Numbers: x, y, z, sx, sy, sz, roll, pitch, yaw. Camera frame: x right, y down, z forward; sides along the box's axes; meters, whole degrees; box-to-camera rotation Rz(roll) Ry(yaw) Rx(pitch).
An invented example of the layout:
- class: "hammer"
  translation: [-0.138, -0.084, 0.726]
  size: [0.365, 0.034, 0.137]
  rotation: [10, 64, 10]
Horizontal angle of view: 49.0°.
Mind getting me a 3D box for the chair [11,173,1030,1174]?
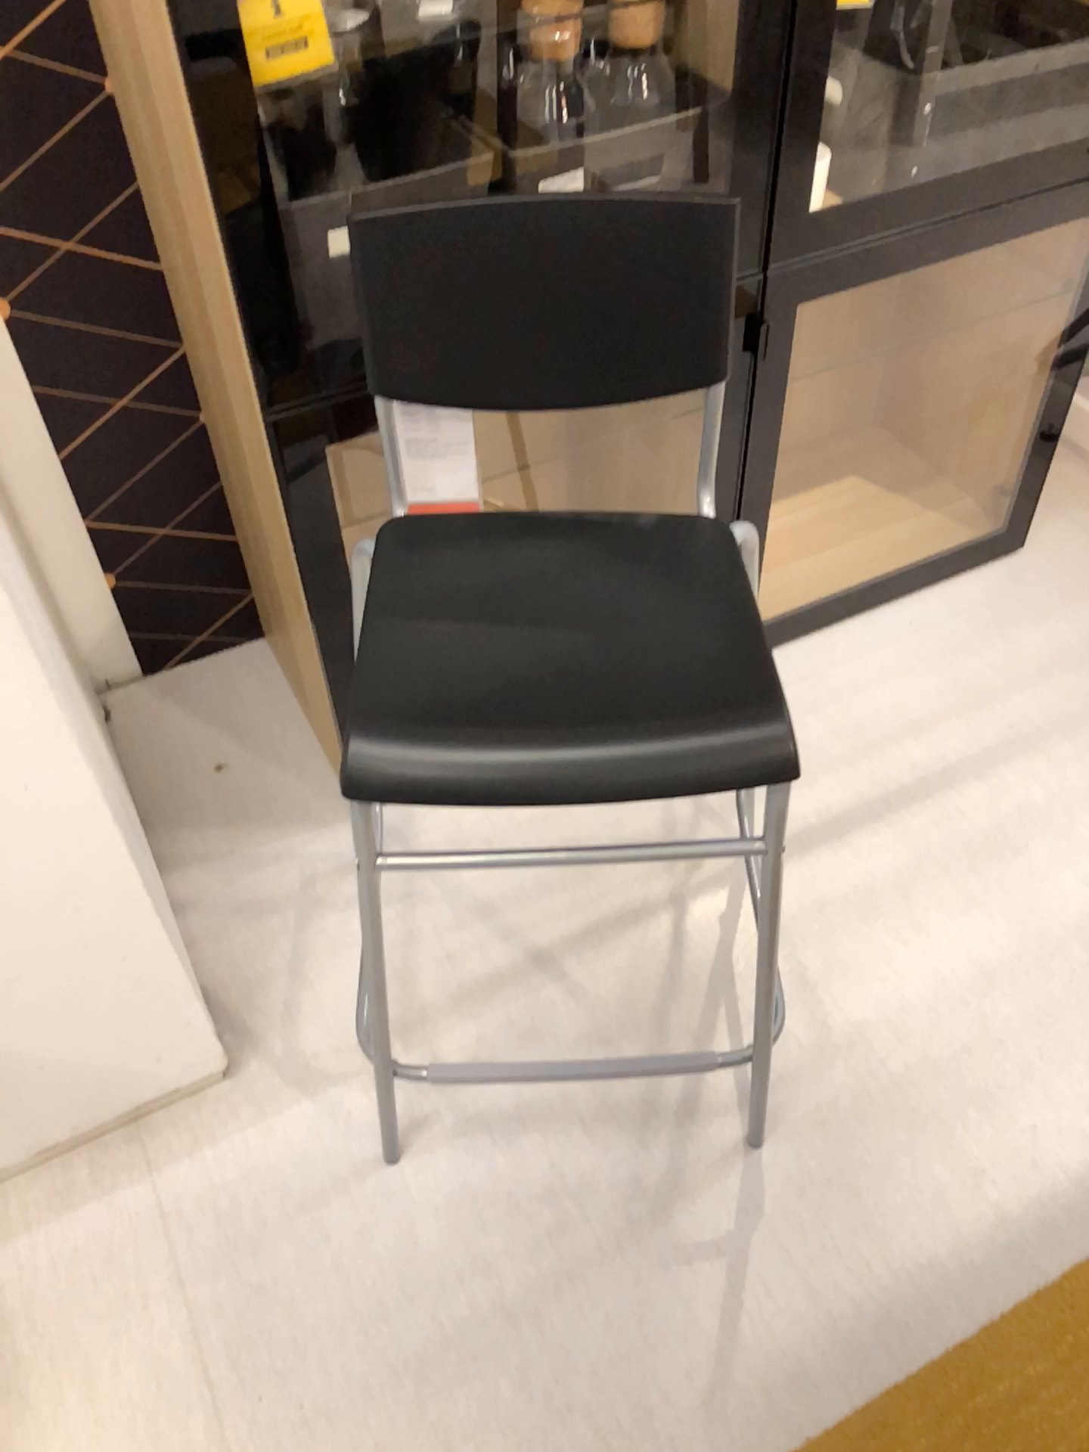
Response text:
- class: "chair"
  translation: [-0.007, 0.003, 1.077]
  size: [0.540, 0.765, 0.483]
  rotation: [-2, 47, 1]
